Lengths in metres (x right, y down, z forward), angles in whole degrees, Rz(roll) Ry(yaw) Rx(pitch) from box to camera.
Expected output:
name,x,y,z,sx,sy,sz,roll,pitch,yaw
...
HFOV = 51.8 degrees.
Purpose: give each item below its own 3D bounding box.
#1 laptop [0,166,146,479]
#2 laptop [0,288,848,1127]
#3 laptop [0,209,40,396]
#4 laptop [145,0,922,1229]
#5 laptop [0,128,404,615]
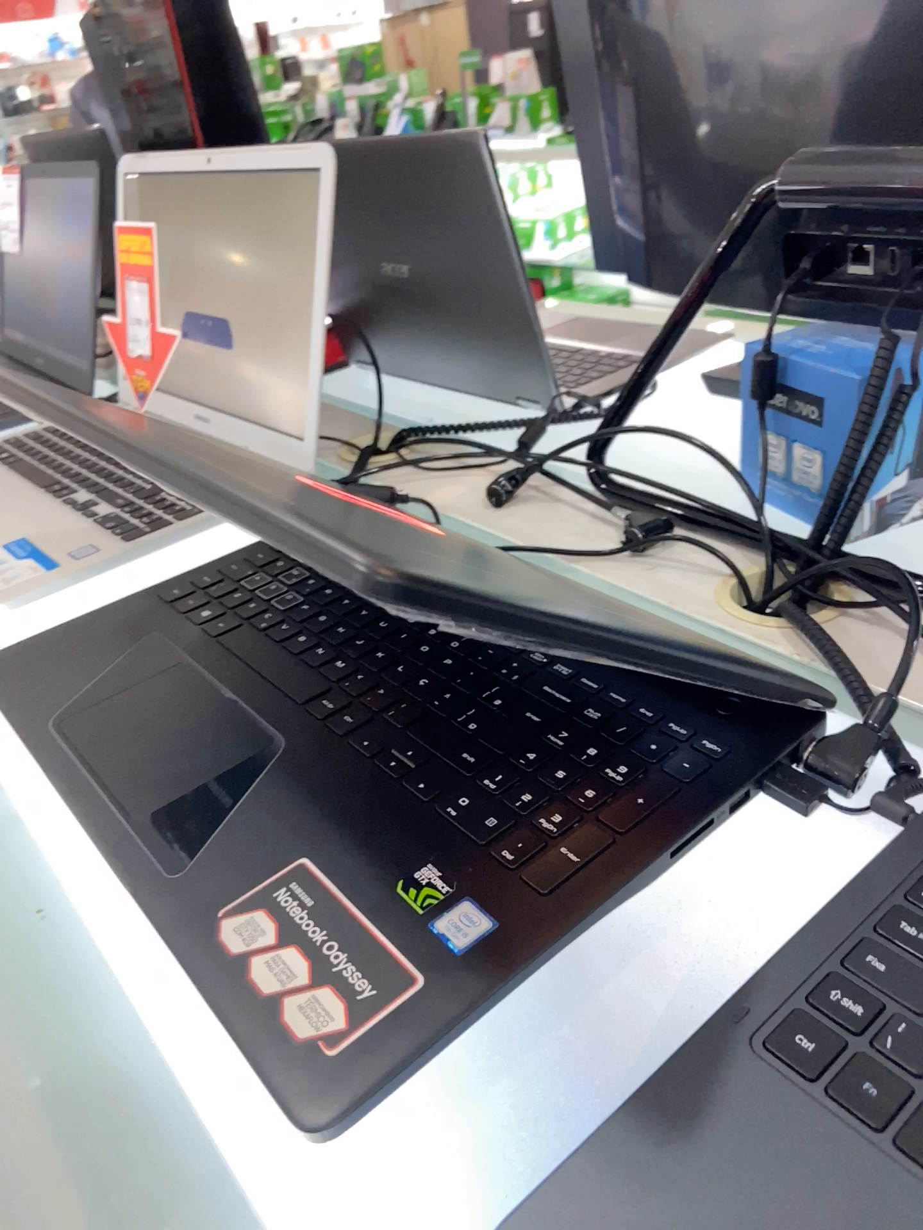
name,x,y,z,sx,sy,sz,roll,pitch,yaw
laptop,-0.631,-0.370,1.123,0.341,0.227,0.338,-28,37,-30
laptop,-0.070,-0.029,0.430,0.259,0.152,0.369,-27,34,-29
laptop,-0.941,-0.529,1.561,0.338,0.180,0.331,-28,36,-30
laptop,0.228,0.064,0.113,0.308,0.234,0.414,-28,36,-30
laptop,-0.330,-0.233,0.792,0.345,0.223,0.432,-29,34,-29
